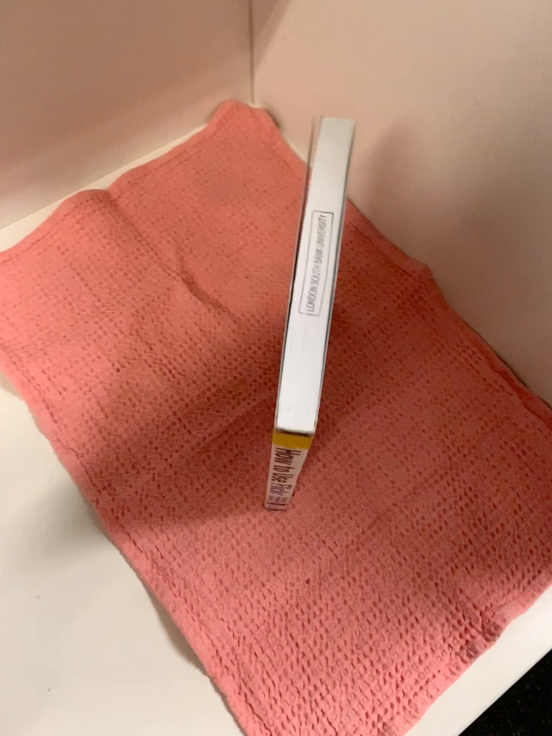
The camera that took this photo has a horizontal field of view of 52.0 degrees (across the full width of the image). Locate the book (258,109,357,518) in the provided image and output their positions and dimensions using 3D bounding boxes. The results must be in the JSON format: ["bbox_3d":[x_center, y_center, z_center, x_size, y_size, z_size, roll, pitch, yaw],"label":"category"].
[{"bbox_3d":[0.016,-0.012,0.386,0.025,0.229,0.191,9,67,2],"label":"book"}]
